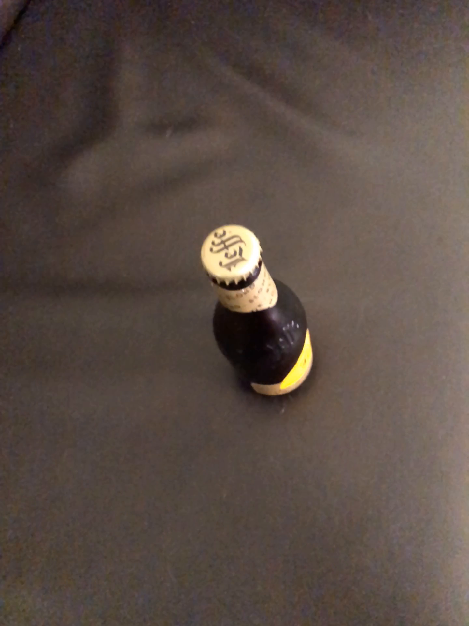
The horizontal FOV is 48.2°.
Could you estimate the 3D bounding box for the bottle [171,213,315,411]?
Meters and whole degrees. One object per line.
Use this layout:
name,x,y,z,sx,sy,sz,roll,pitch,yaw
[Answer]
bottle,0.018,0.014,0.320,0.060,0.190,0.060,-3,70,8
